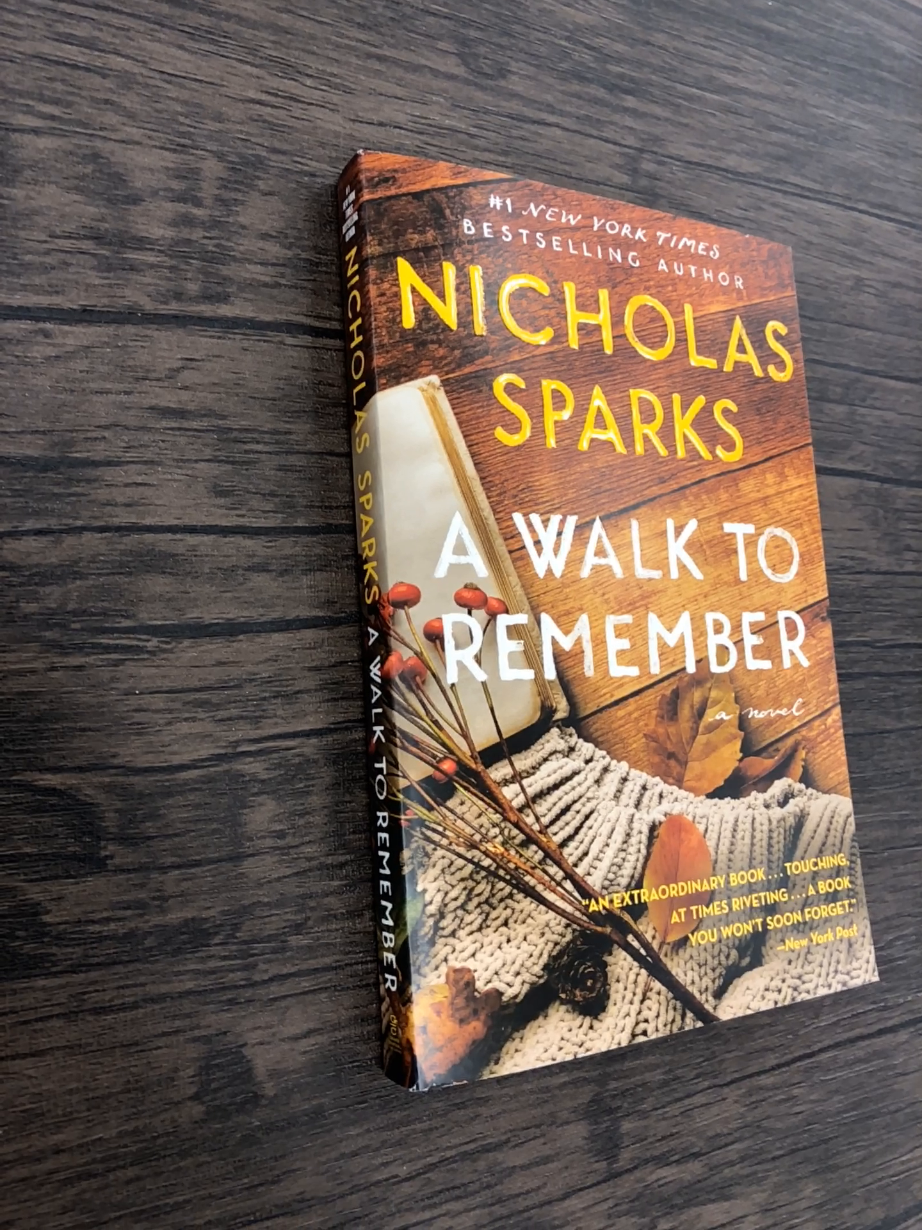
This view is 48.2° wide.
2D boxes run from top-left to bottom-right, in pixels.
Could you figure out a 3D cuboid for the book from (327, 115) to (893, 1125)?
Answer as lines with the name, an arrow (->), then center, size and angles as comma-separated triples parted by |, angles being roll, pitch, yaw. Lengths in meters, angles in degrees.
book -> 0.039, -0.003, 0.244 | 0.132, 0.020, 0.200 | -1, 84, -30
